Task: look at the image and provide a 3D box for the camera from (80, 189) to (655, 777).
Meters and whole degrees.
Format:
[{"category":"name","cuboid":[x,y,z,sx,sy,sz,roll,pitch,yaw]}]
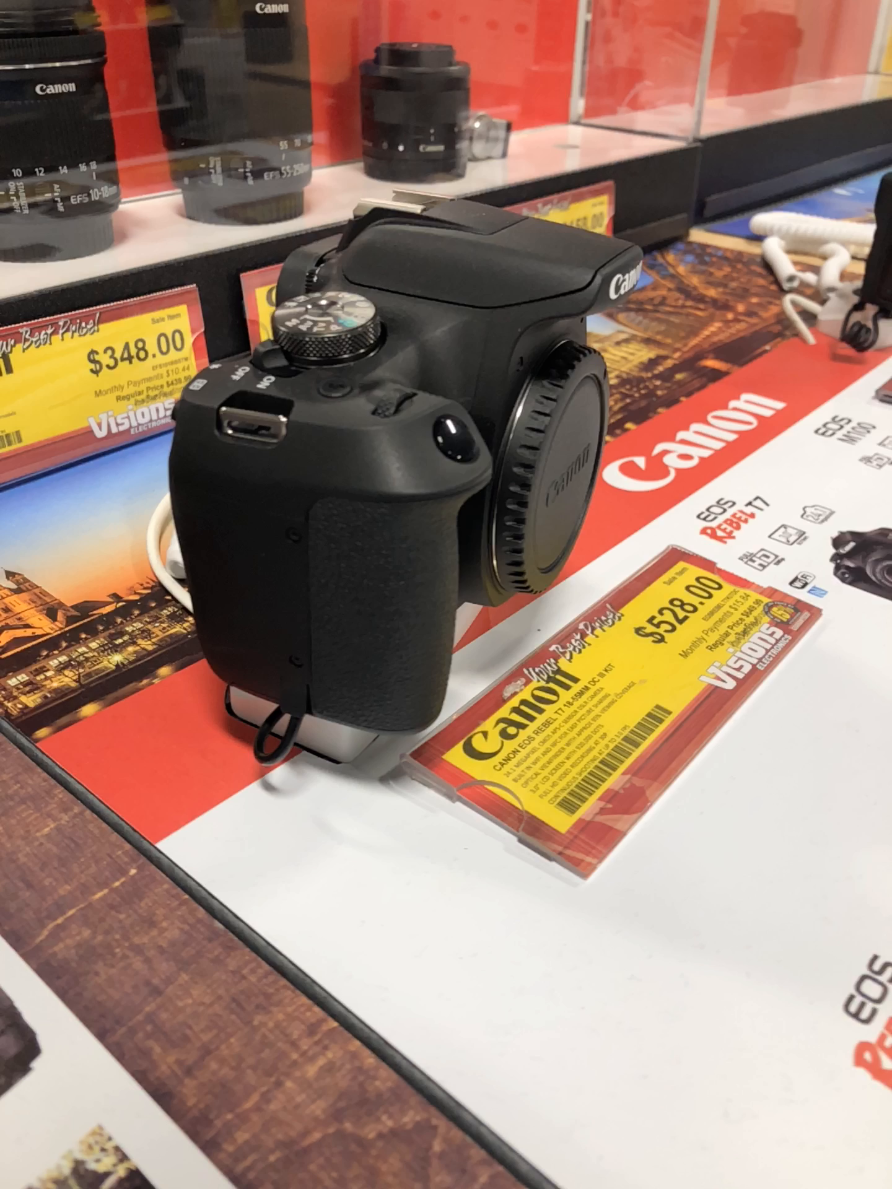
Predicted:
[{"category":"camera","cuboid":[-0.008,-0.040,0.250,0.080,0.089,0.131,14,35,20]}]
